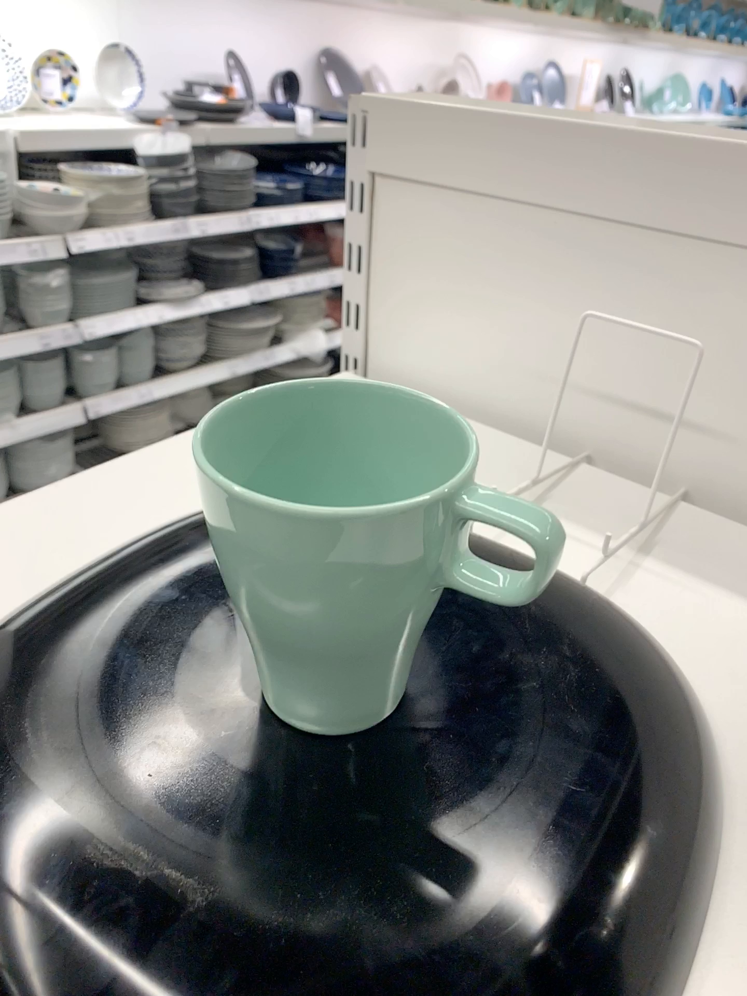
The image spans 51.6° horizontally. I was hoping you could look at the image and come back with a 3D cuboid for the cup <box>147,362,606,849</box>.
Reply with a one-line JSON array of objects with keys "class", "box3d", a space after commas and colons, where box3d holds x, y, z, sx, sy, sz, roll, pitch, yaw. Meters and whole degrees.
[{"class": "cup", "box3d": [0.003, 0.027, 0.245, 0.110, 0.100, 0.080, 14, 31, 16]}]
